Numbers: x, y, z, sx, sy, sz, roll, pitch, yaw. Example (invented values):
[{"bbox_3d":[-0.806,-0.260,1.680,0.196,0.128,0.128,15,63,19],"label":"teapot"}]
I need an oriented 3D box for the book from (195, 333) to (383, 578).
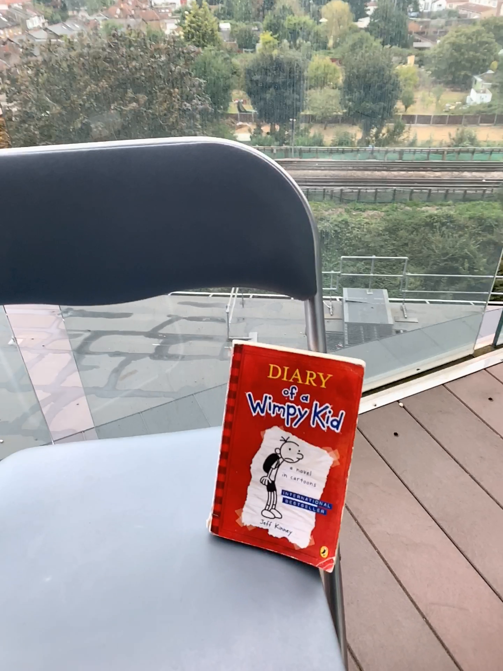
[{"bbox_3d":[0.034,0.110,0.501,0.150,0.200,0.040,10,6,16],"label":"book"}]
